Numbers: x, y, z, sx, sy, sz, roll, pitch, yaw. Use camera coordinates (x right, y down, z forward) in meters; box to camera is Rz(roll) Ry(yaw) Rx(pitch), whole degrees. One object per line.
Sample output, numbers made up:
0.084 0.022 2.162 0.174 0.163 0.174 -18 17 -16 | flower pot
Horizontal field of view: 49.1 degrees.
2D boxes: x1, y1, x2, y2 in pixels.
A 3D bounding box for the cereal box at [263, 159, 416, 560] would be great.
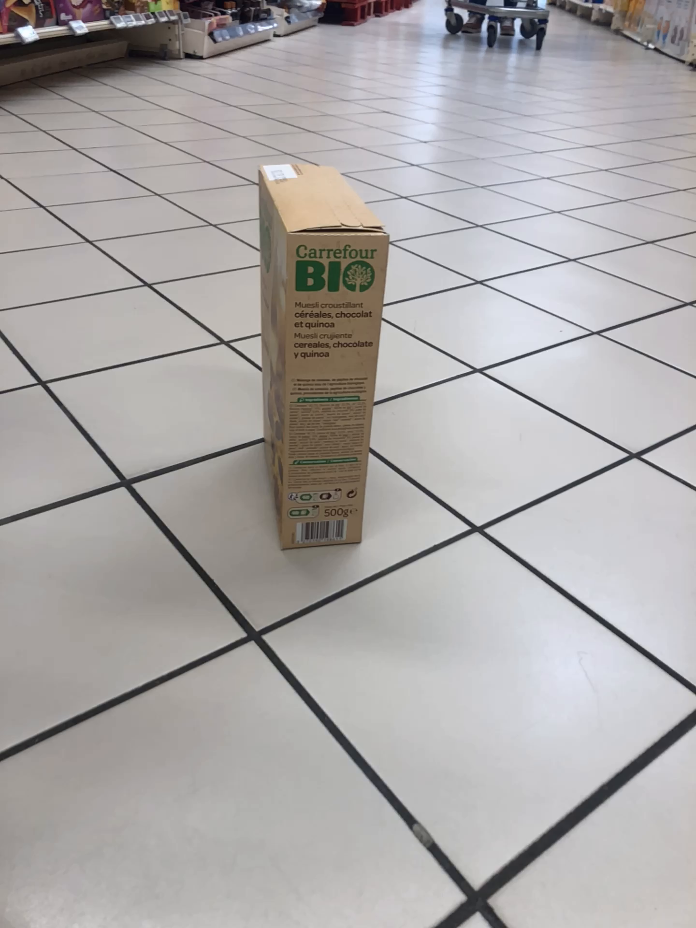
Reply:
-0.019 -0.078 0.544 0.070 0.229 0.171 -2 33 -10 | cereal box
